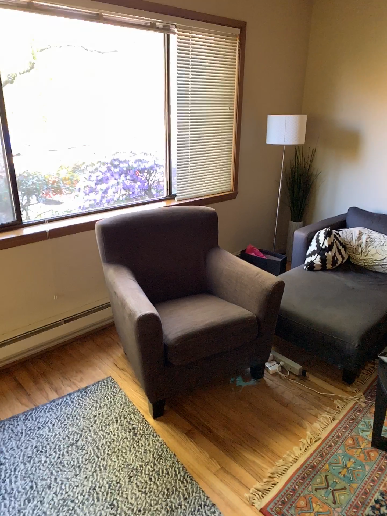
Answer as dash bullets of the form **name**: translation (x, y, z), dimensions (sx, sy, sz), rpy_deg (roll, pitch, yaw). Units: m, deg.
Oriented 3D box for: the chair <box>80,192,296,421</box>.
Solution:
- **chair**: translation (-0.058, 0.162, 2.246), dimensions (0.880, 0.876, 0.803), rpy_deg (-11, 21, -28)
